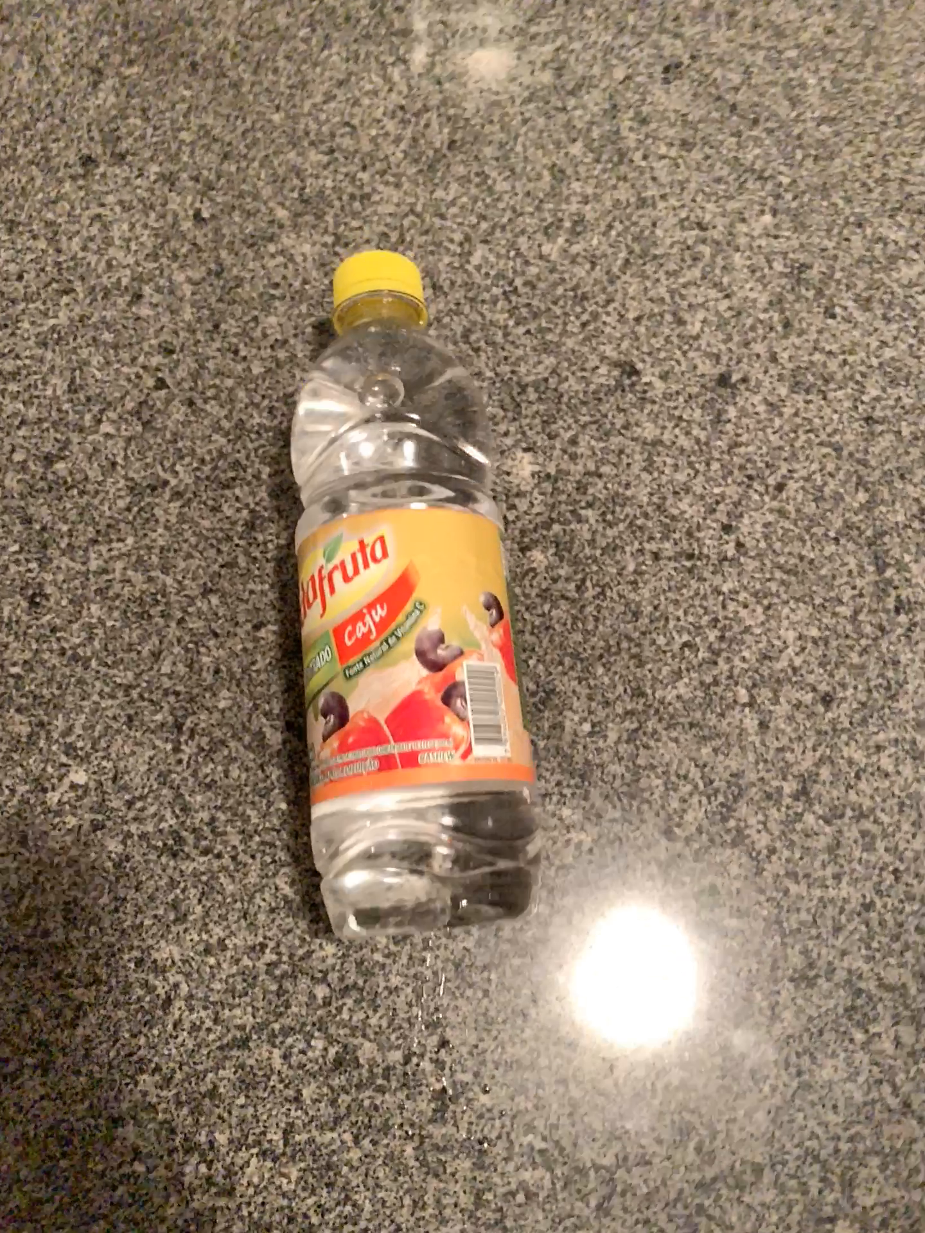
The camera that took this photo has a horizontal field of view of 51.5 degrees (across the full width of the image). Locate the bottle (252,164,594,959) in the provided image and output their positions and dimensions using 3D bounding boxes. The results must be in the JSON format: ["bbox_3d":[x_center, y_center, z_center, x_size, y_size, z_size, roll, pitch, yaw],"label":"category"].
[{"bbox_3d":[-0.019,-0.022,0.291,0.070,0.060,0.230,-5,71,-6],"label":"bottle"}]
